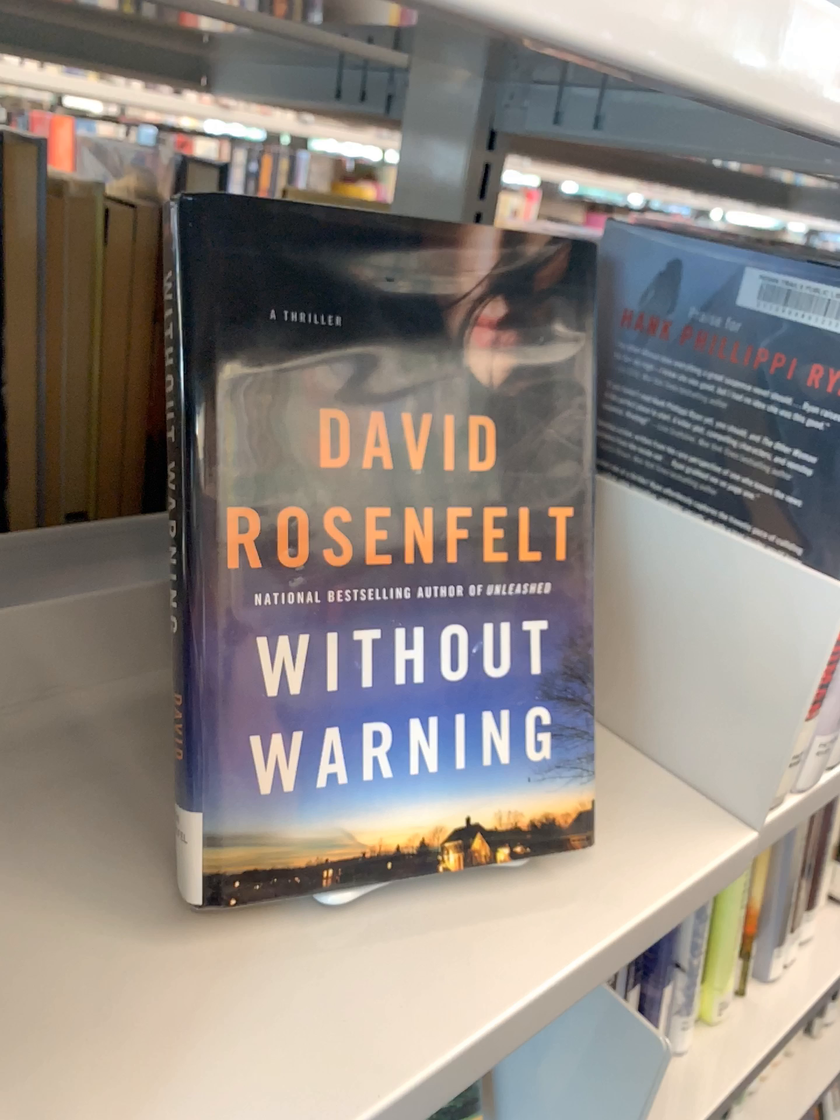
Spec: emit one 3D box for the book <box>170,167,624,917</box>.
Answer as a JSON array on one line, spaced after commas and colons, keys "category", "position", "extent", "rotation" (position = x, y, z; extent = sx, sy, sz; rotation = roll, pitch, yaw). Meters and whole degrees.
[{"category": "book", "position": [-0.007, -0.005, 0.315], "extent": [0.157, 0.230, 0.035], "rotation": [-1, 4, -23]}]
